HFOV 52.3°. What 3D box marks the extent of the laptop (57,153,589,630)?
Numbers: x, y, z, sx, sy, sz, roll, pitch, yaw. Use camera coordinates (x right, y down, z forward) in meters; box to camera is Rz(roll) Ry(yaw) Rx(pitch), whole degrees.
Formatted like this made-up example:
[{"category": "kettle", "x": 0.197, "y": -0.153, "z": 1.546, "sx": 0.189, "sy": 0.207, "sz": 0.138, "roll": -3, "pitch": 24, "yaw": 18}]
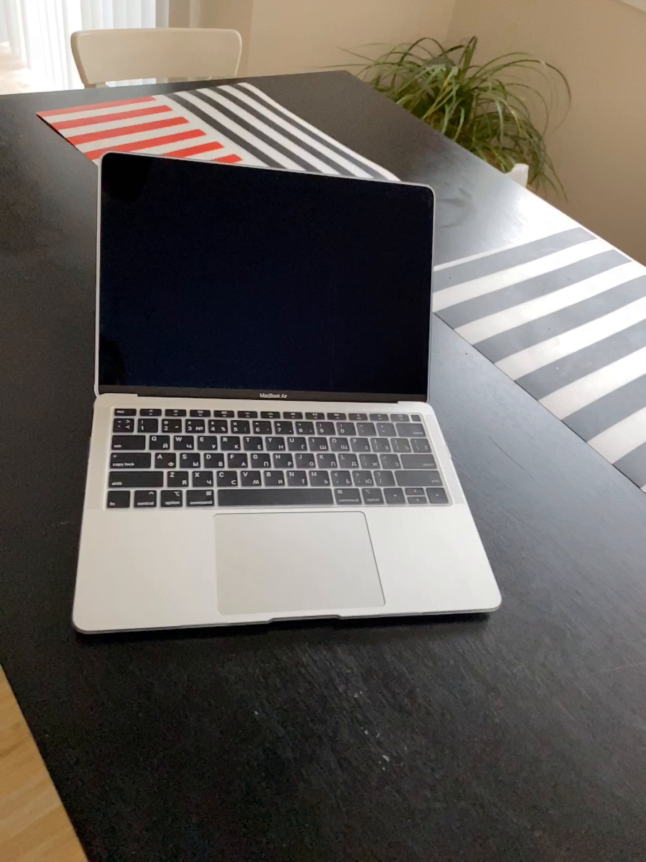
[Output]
[{"category": "laptop", "x": -0.027, "y": -0.053, "z": 0.524, "sx": 0.297, "sy": 0.139, "sz": 0.363, "roll": 1, "pitch": 47, "yaw": -14}]
